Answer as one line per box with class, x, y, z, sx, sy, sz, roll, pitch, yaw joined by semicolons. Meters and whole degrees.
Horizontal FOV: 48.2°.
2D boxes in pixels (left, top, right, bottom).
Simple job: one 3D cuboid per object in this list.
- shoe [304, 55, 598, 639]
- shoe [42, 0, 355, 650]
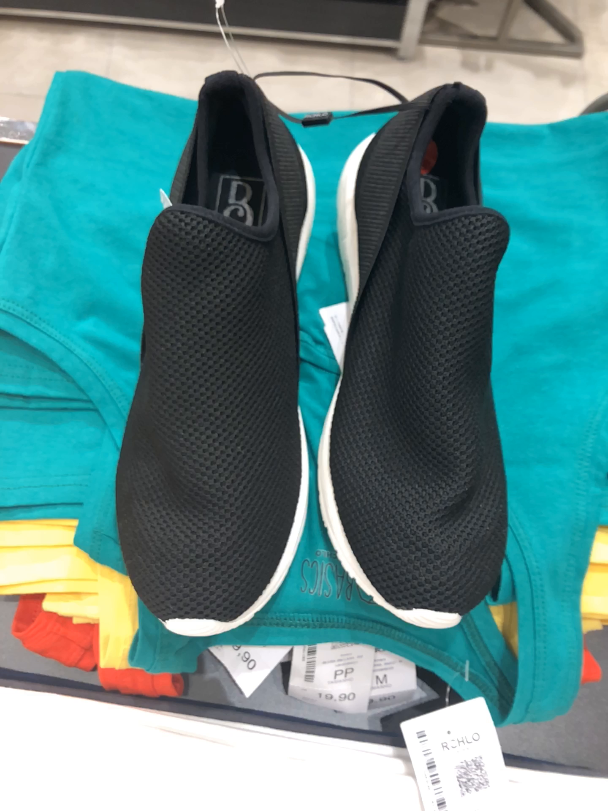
shoe;0.054;-0.021;0.320;0.090;0.120;0.241;4;69;-2
shoe;-0.033;-0.032;0.308;0.090;0.120;0.261;4;72;-2
